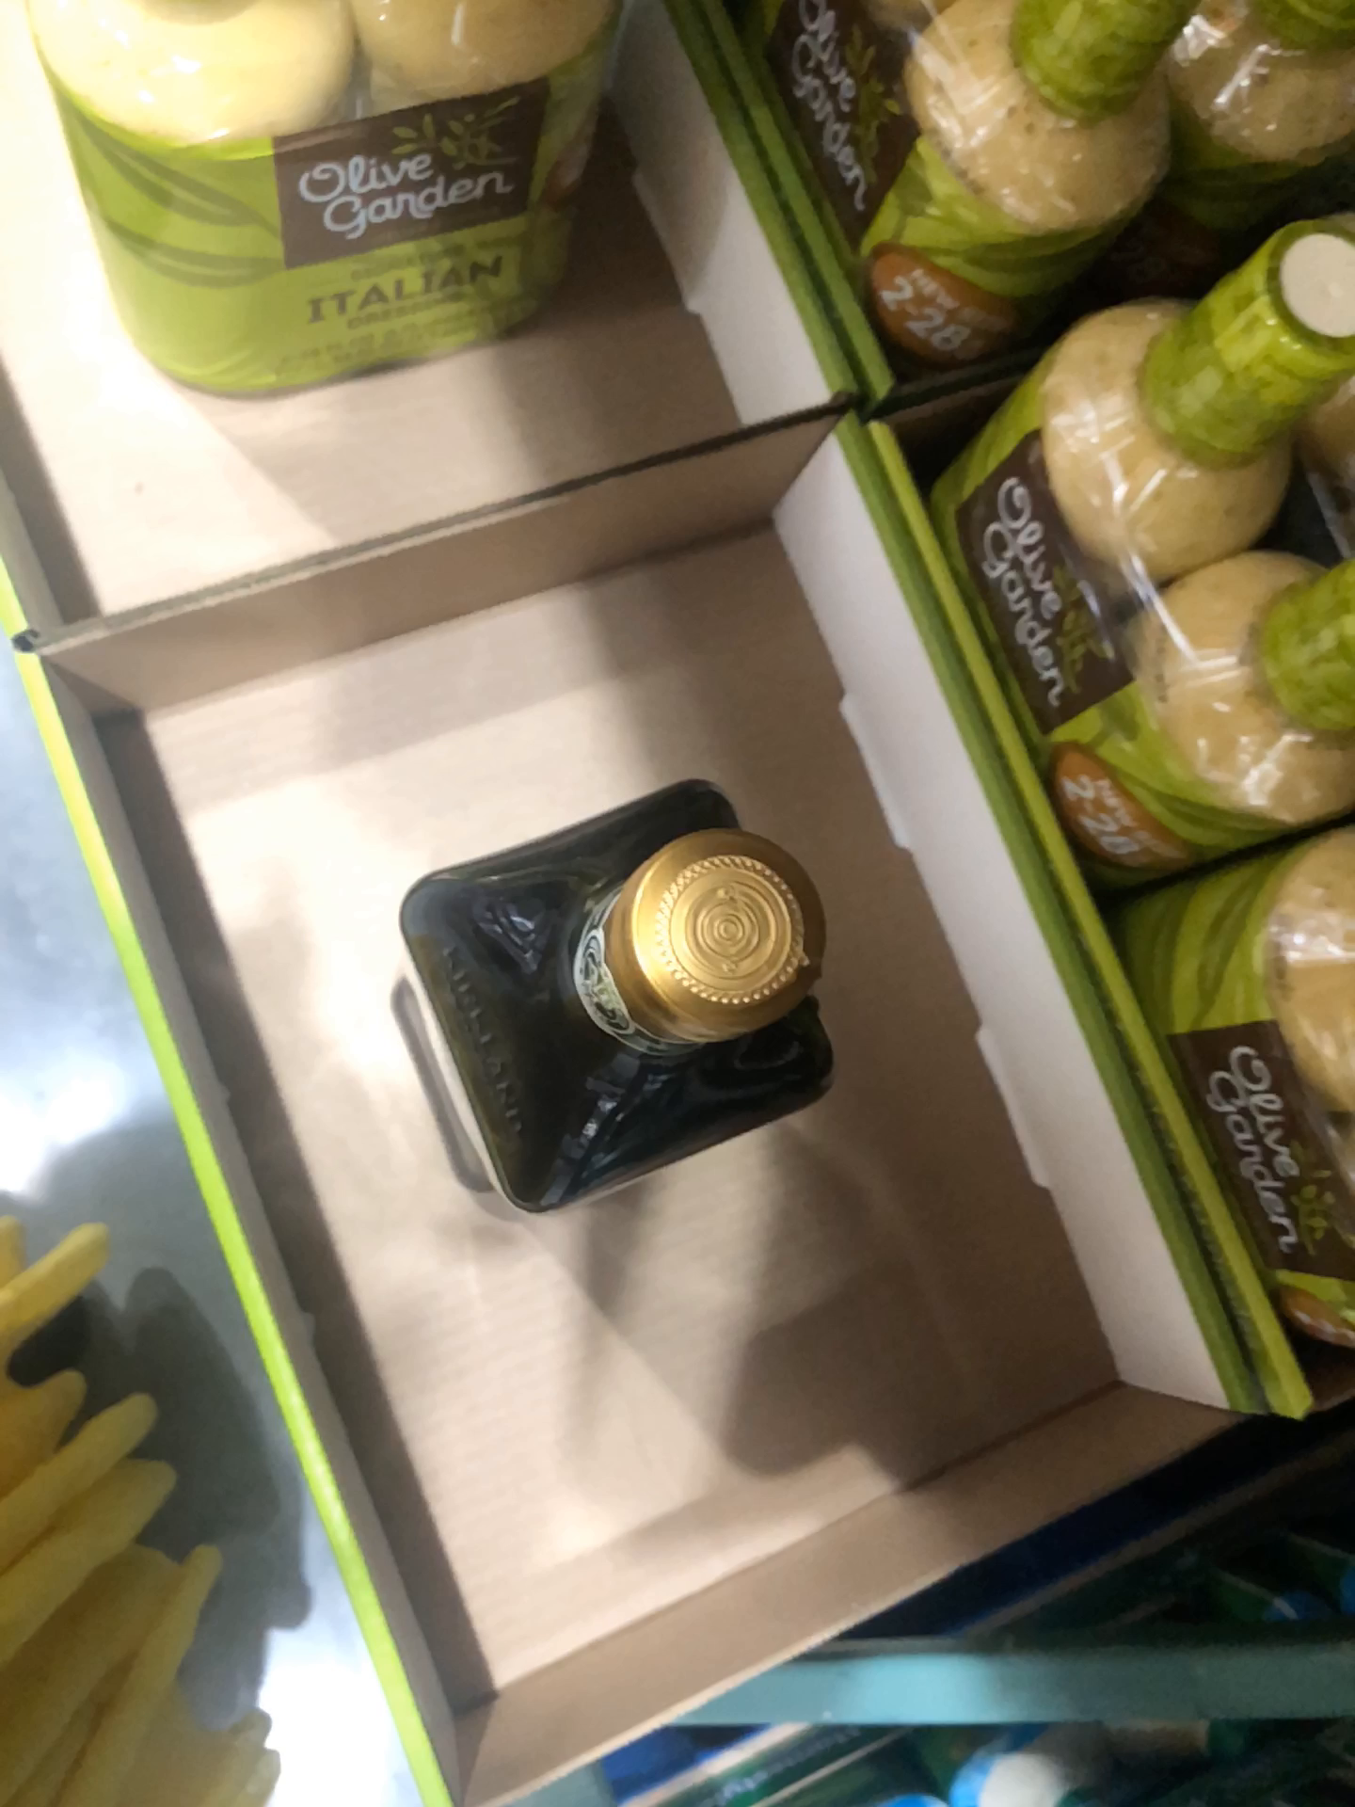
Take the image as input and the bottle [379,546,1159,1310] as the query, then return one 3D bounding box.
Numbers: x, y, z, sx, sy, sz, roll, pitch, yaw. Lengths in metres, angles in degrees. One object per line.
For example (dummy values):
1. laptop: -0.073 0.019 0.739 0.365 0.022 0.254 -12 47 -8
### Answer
1. bottle: -0.013 0.024 0.376 0.090 0.306 0.090 2 80 -11
